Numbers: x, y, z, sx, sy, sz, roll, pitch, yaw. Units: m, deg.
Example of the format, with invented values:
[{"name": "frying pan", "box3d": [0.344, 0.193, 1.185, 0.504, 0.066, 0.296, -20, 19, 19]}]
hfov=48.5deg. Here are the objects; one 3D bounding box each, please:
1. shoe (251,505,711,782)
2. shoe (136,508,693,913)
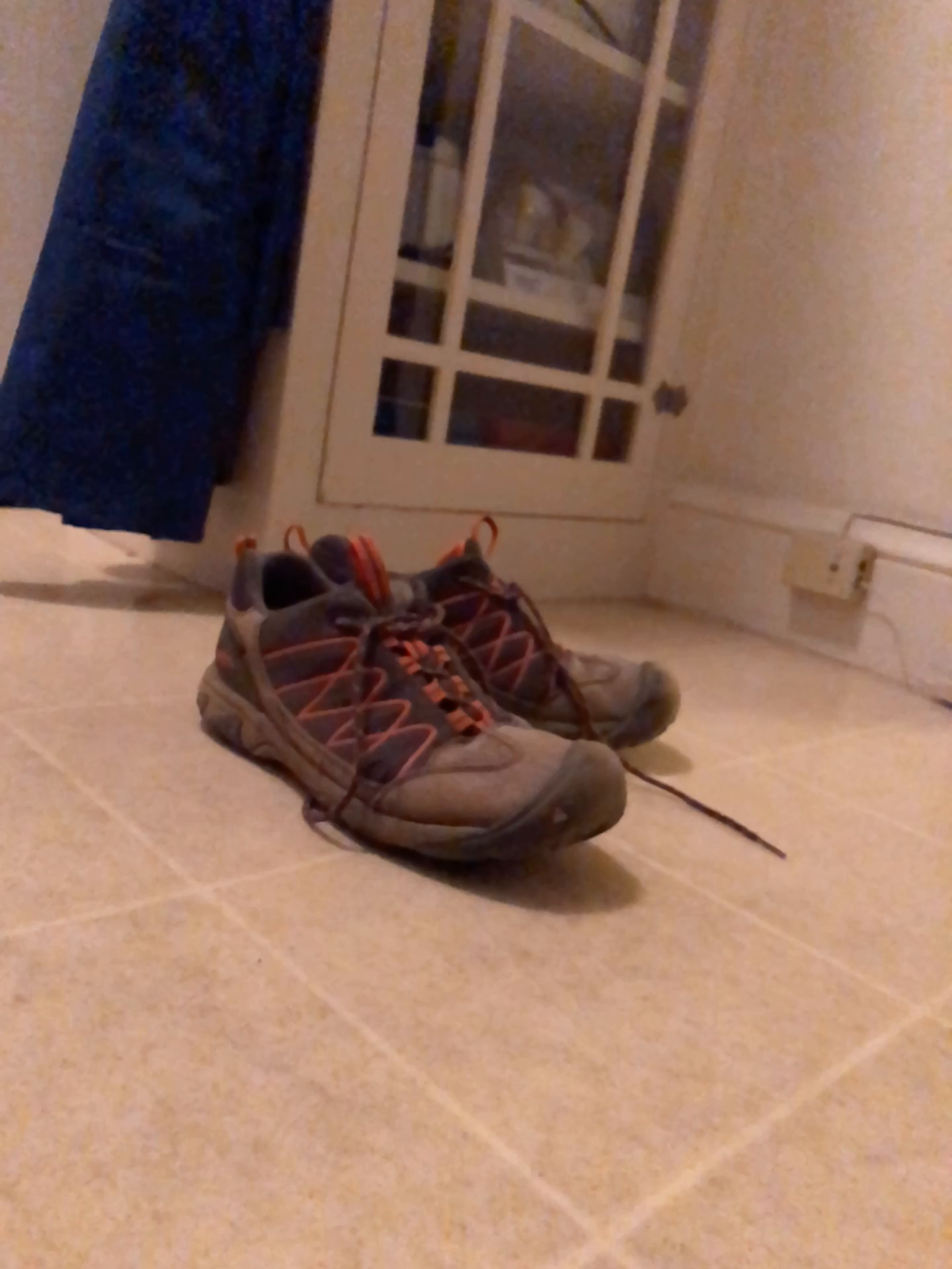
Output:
[{"name": "shoe", "box3d": [0.003, 0.000, 0.749, 0.282, 0.122, 0.128, 10, 12, 0]}, {"name": "shoe", "box3d": [-0.049, 0.021, 0.593, 0.292, 0.122, 0.127, 21, 16, 38]}]
